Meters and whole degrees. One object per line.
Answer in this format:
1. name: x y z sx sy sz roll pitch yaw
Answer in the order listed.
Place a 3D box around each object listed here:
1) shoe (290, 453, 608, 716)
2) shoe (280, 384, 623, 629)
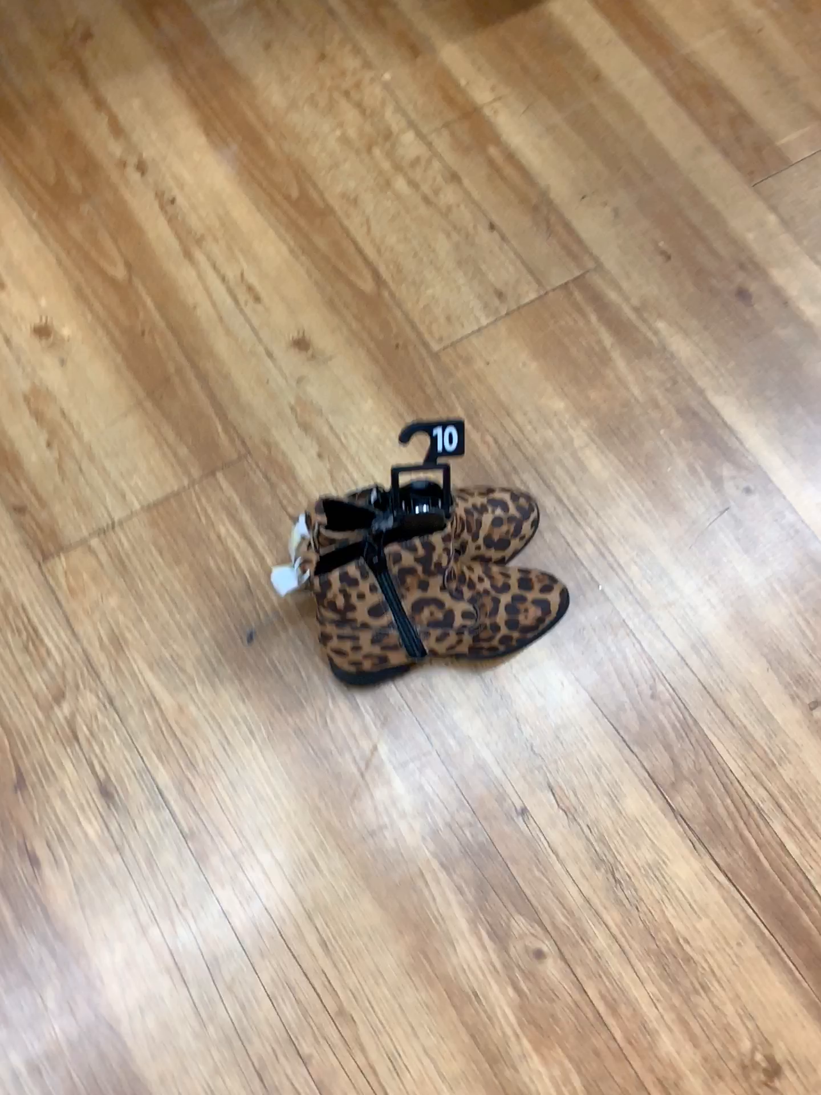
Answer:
1. shoe: 0.025 0.025 0.550 0.180 0.120 0.070 -13 44 -9
2. shoe: 0.021 -0.023 0.549 0.190 0.120 0.070 -18 74 -10
